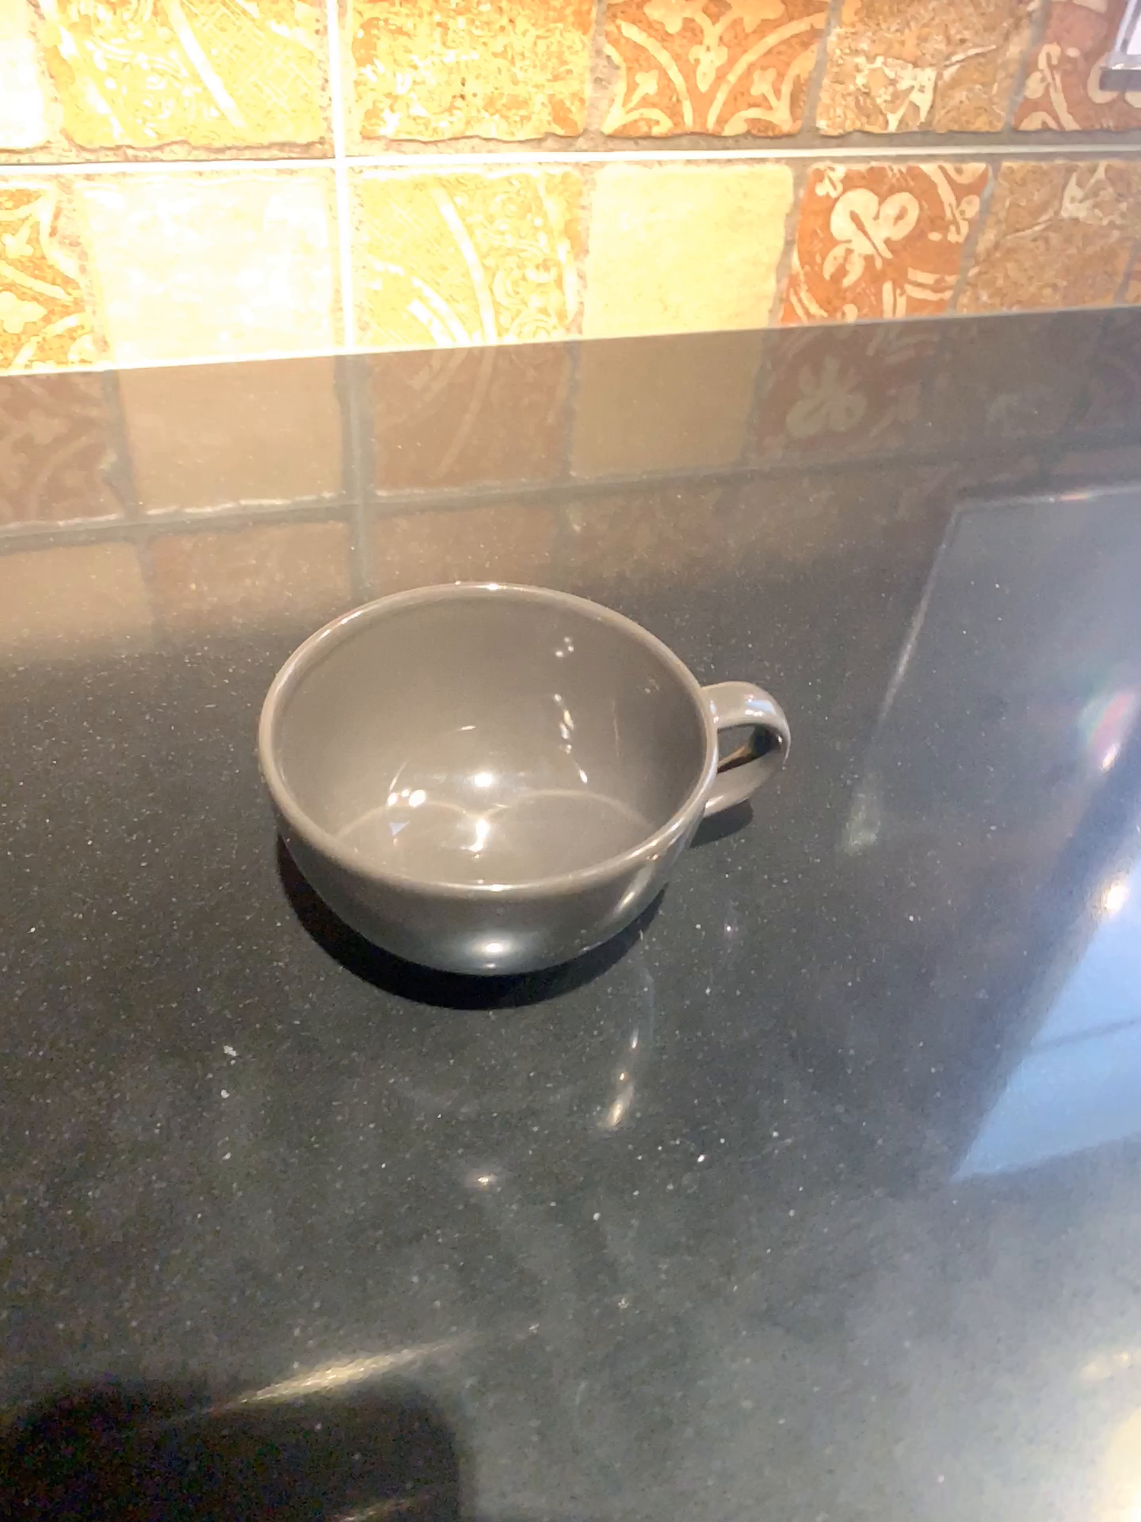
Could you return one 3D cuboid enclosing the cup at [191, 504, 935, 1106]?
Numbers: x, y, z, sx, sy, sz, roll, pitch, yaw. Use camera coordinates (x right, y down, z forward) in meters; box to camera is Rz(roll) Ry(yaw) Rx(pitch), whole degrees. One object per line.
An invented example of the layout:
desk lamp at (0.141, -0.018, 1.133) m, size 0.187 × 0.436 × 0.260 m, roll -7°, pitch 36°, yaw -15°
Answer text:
cup at (-0.009, 0.001, 0.288) m, size 0.140 × 0.060 × 0.110 m, roll -12°, pitch 46°, yaw -17°
